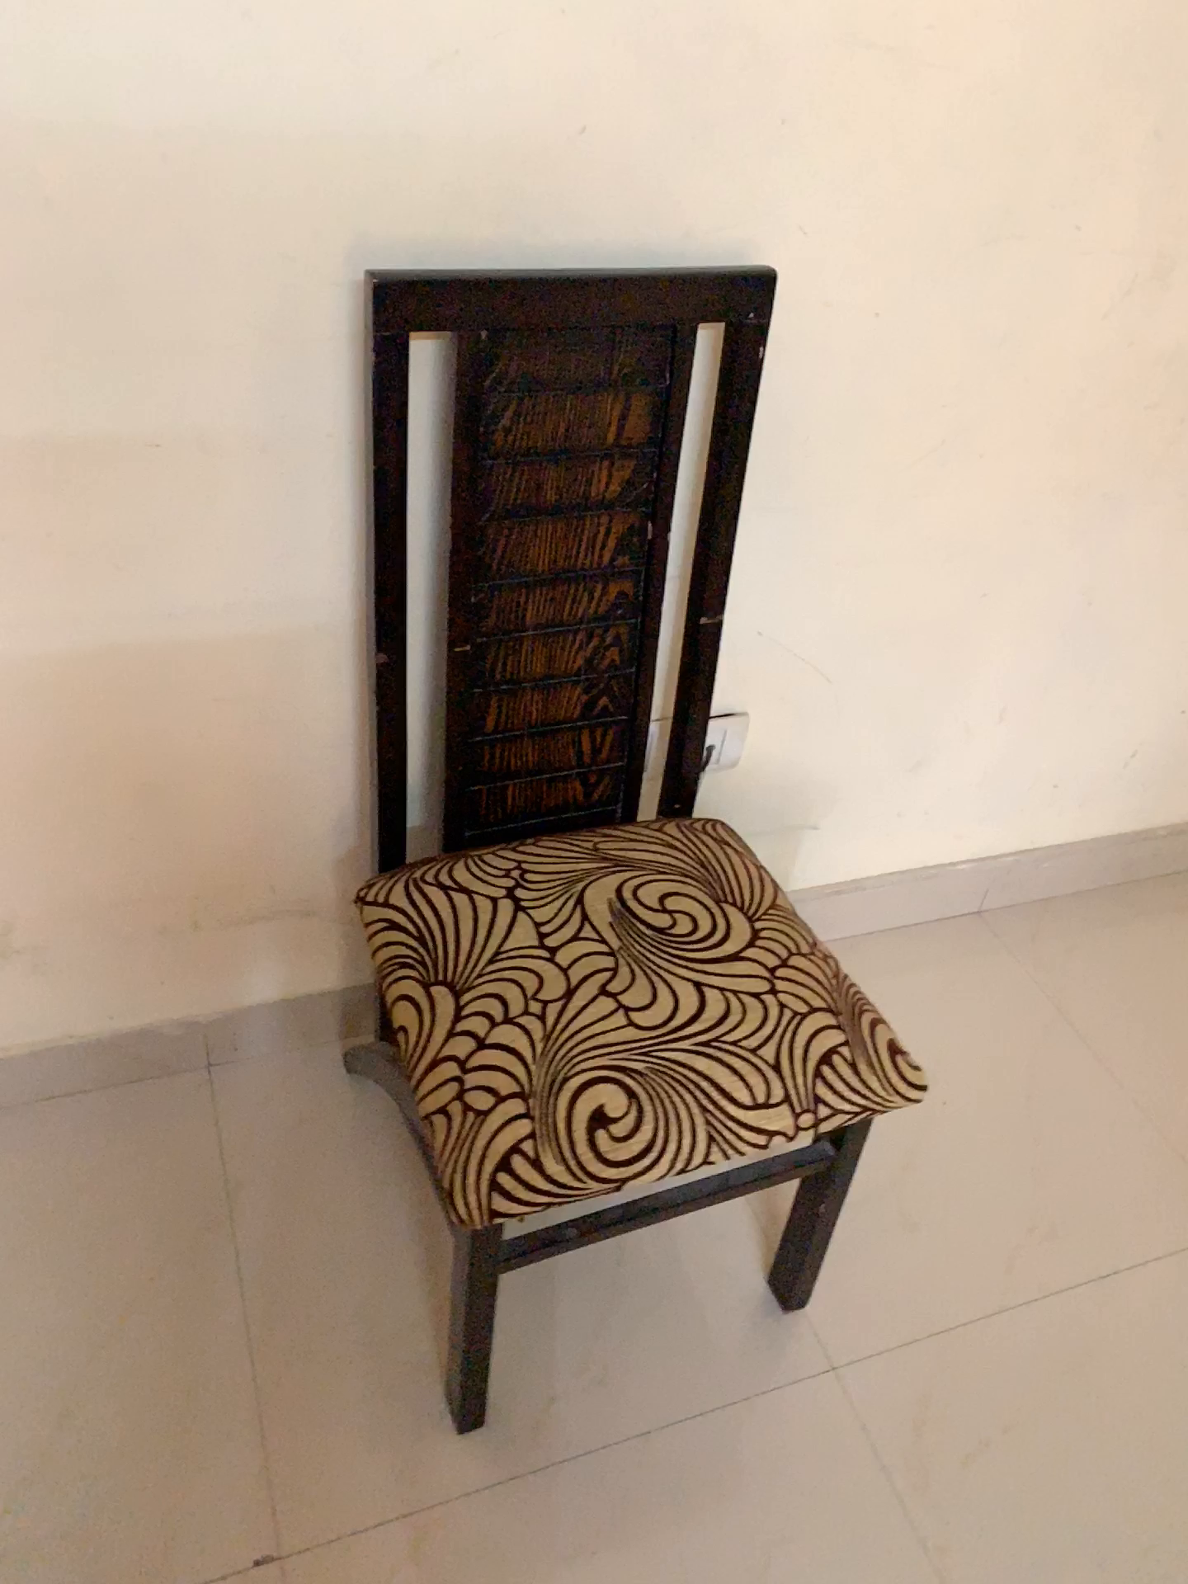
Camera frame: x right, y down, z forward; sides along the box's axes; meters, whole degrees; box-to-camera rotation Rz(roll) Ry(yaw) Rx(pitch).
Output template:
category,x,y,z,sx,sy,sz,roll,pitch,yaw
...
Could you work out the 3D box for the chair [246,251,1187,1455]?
category,x,y,z,sx,sy,sz,roll,pitch,yaw
chair,0.018,0.047,1.177,0.531,0.922,0.584,-10,41,-22
